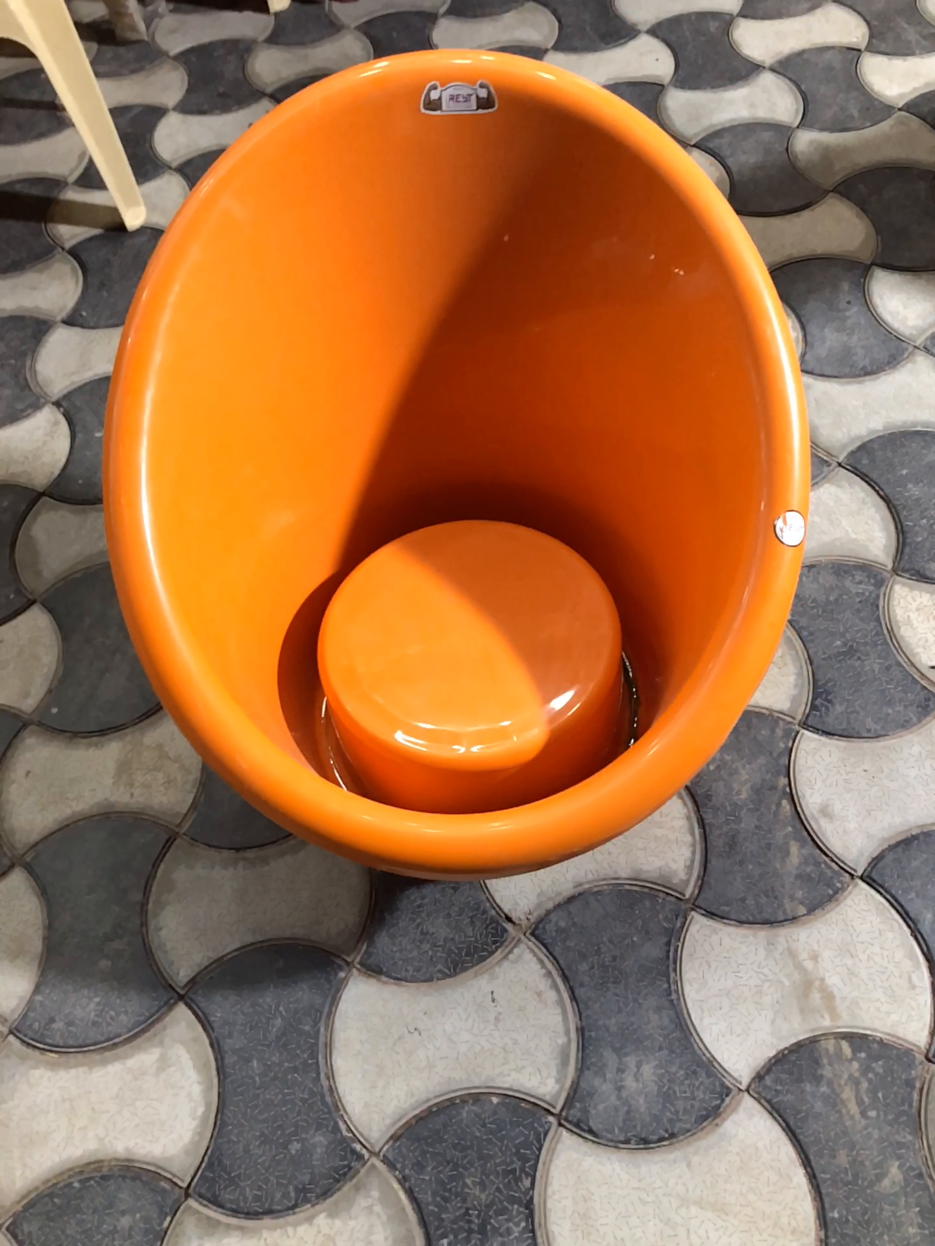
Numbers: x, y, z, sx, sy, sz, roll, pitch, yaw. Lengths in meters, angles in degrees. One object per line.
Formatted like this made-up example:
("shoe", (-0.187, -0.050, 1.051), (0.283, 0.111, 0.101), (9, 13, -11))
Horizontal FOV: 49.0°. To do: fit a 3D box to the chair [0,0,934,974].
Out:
("chair", (-0.050, -0.123, 1.028), (0.660, 0.667, 0.724), (-3, 54, 4))
